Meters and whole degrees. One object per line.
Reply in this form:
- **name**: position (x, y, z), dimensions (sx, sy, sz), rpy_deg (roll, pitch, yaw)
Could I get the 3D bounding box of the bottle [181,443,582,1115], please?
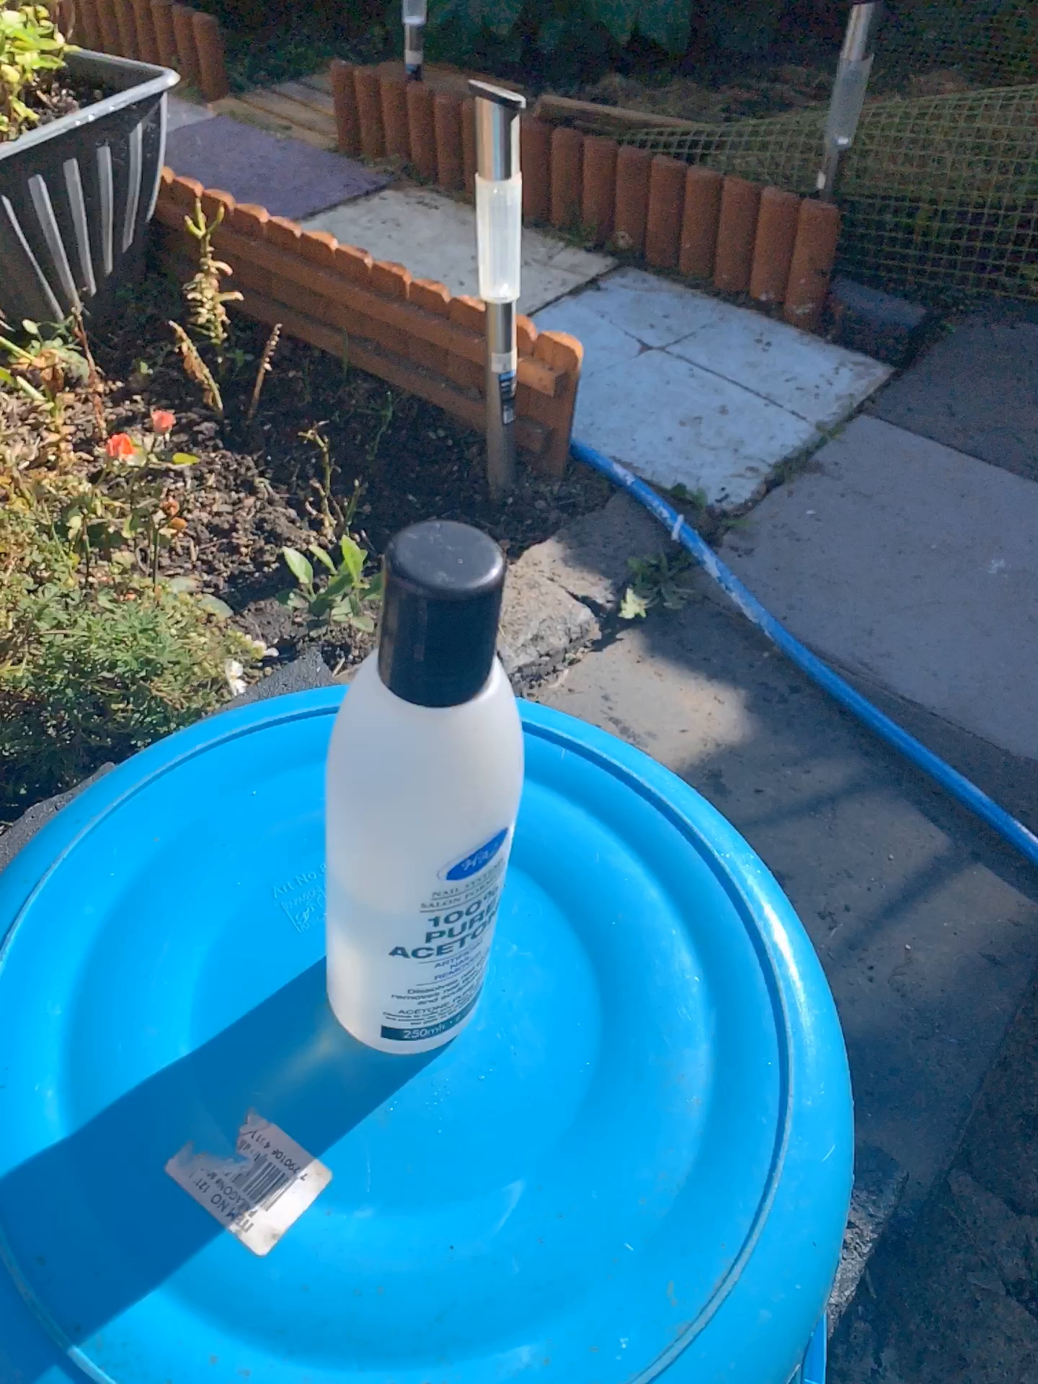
- **bottle**: position (-0.034, 0.034, 0.288), dimensions (0.060, 0.178, 0.060), rpy_deg (2, 44, -2)
